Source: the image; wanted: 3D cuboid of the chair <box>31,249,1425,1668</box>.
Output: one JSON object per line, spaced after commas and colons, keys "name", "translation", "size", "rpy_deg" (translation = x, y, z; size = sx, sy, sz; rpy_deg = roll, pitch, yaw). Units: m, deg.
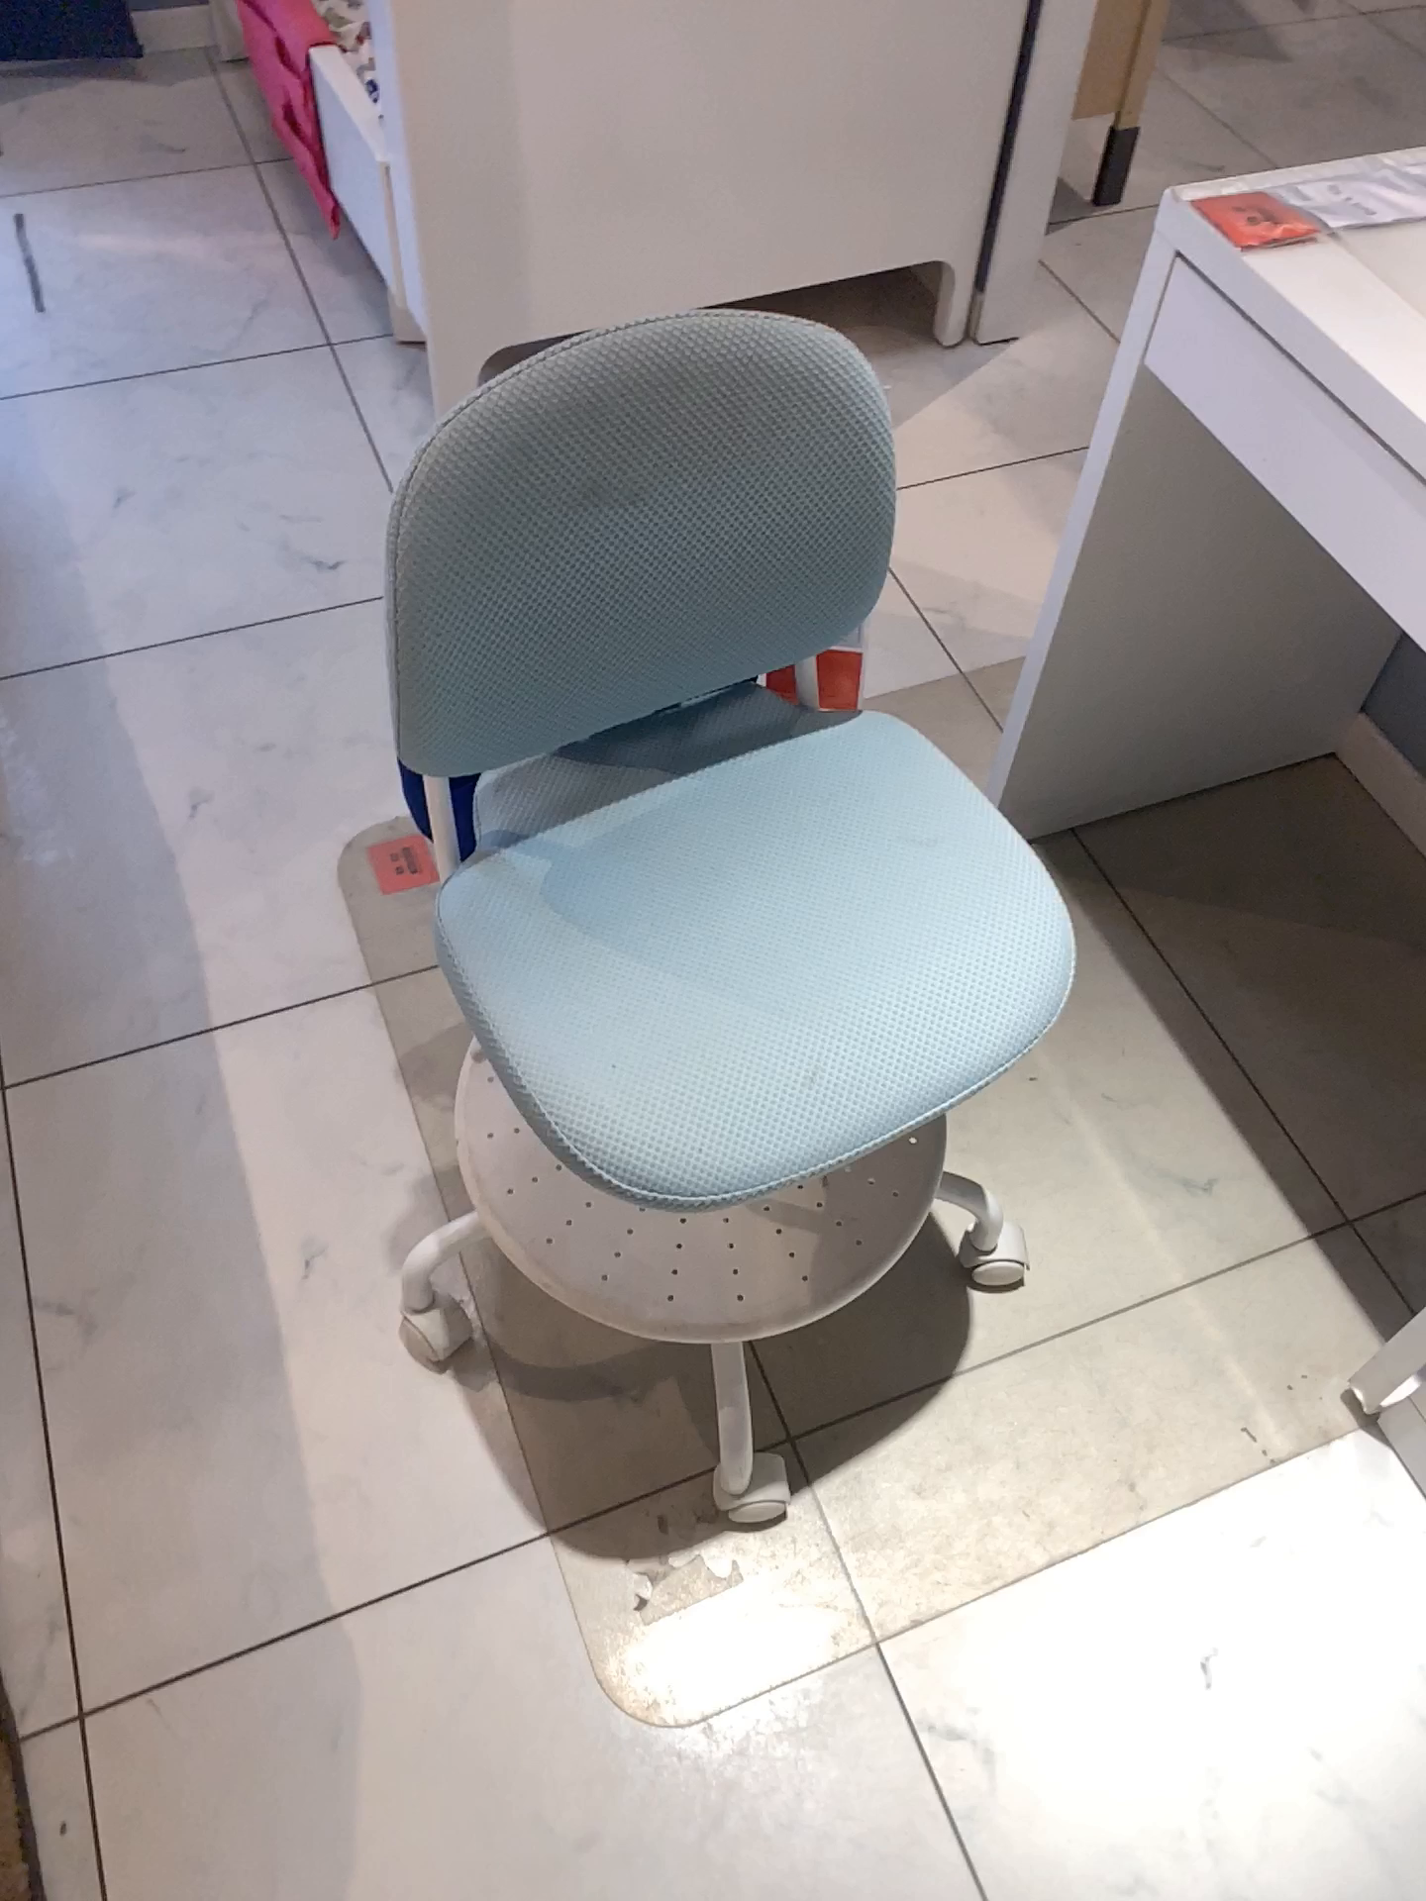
{"name": "chair", "translation": [-0.018, 0.023, 1.118], "size": [0.600, 0.718, 0.621], "rpy_deg": [-24, 58, -19]}
